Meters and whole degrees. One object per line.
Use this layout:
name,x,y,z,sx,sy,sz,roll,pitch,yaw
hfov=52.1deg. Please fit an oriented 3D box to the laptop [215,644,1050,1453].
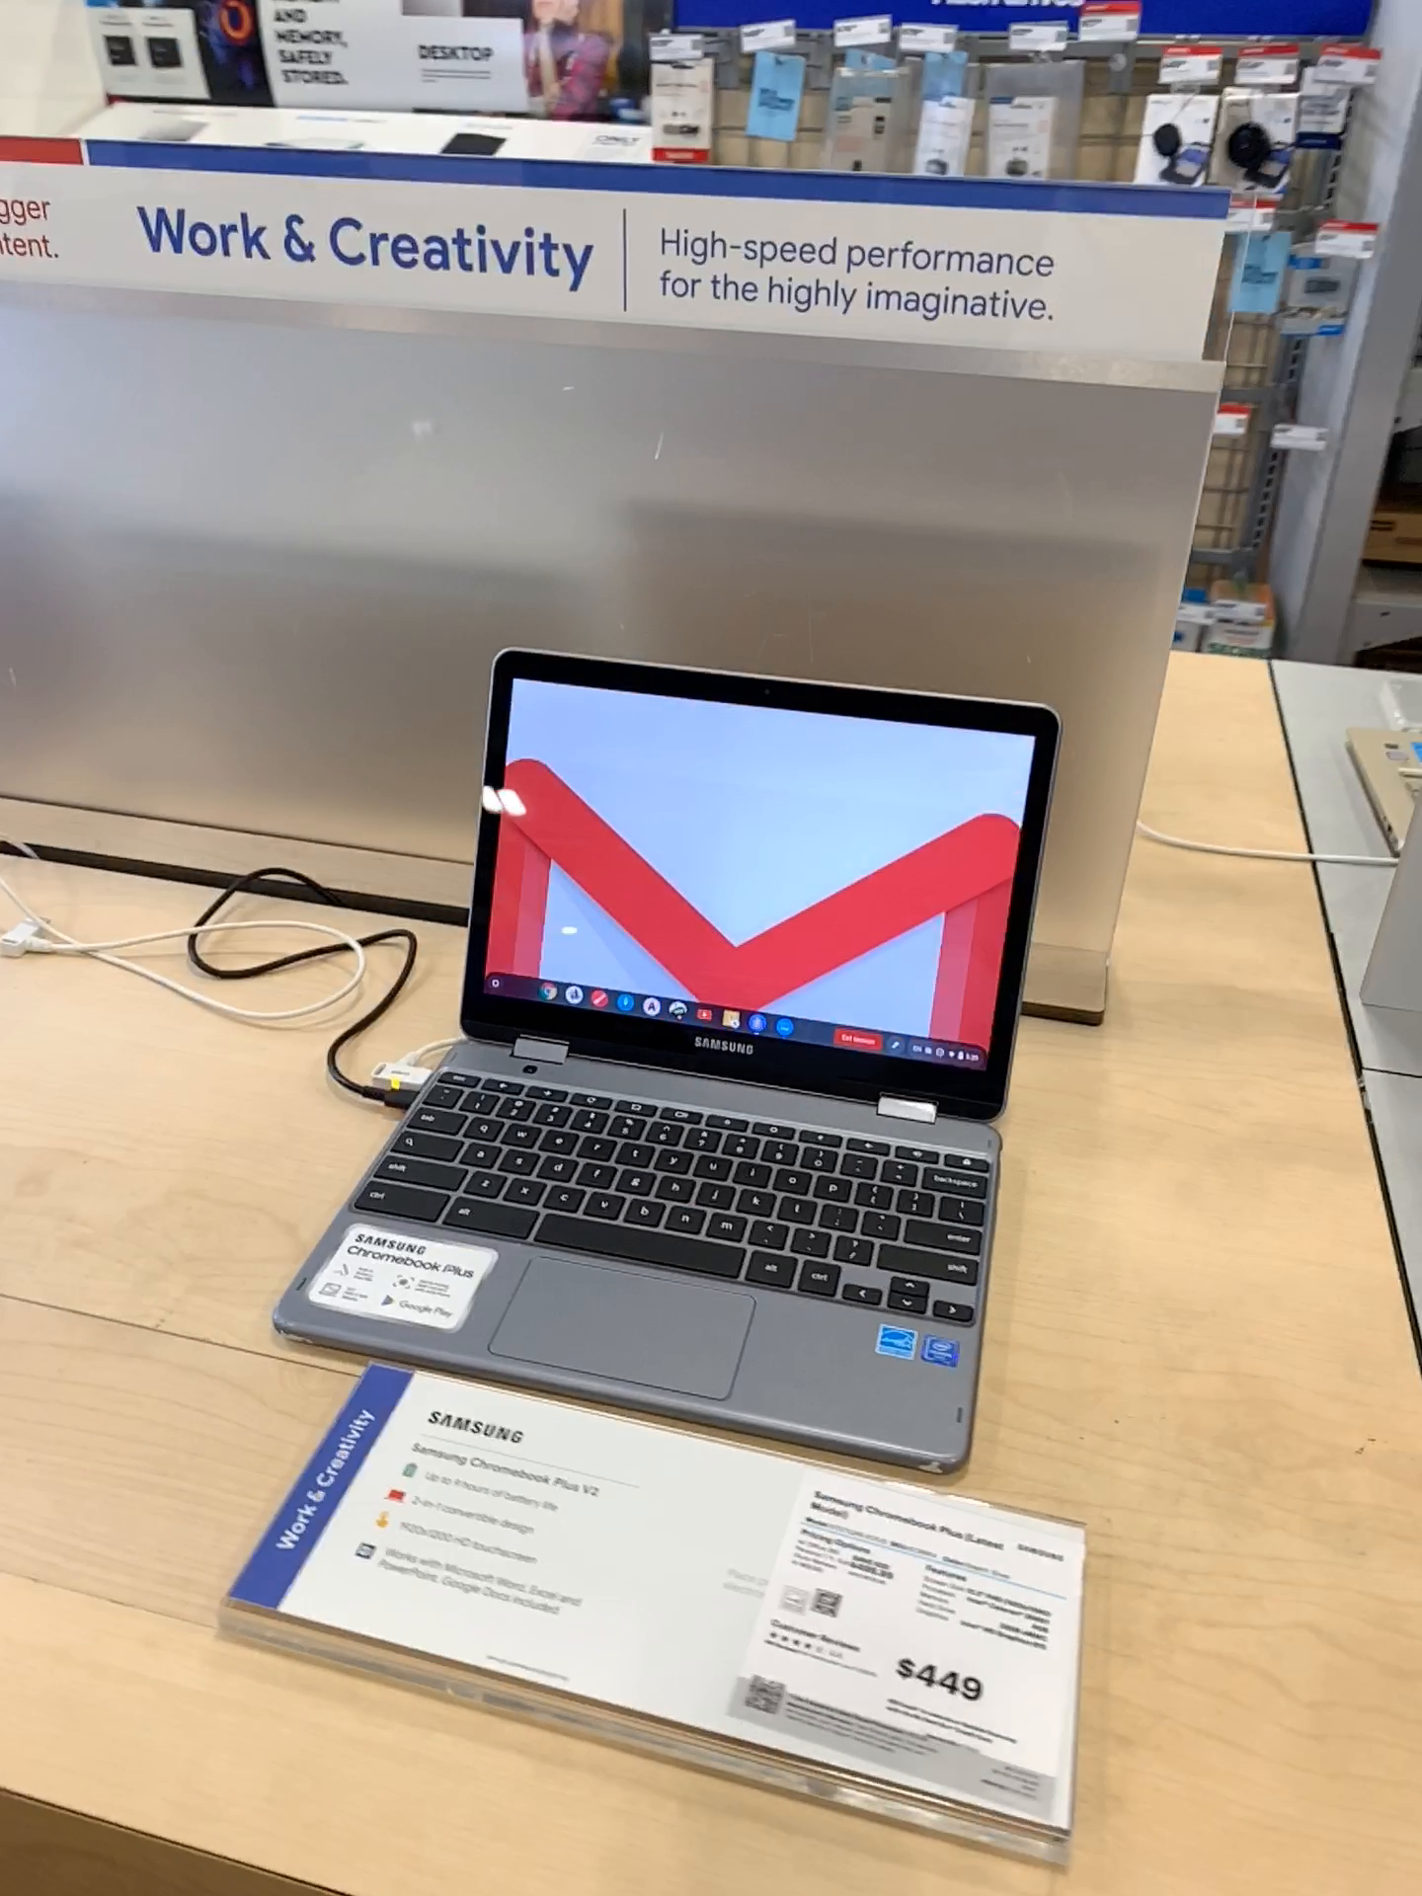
laptop,-0.009,0.017,0.635,0.274,0.183,0.276,8,32,11
